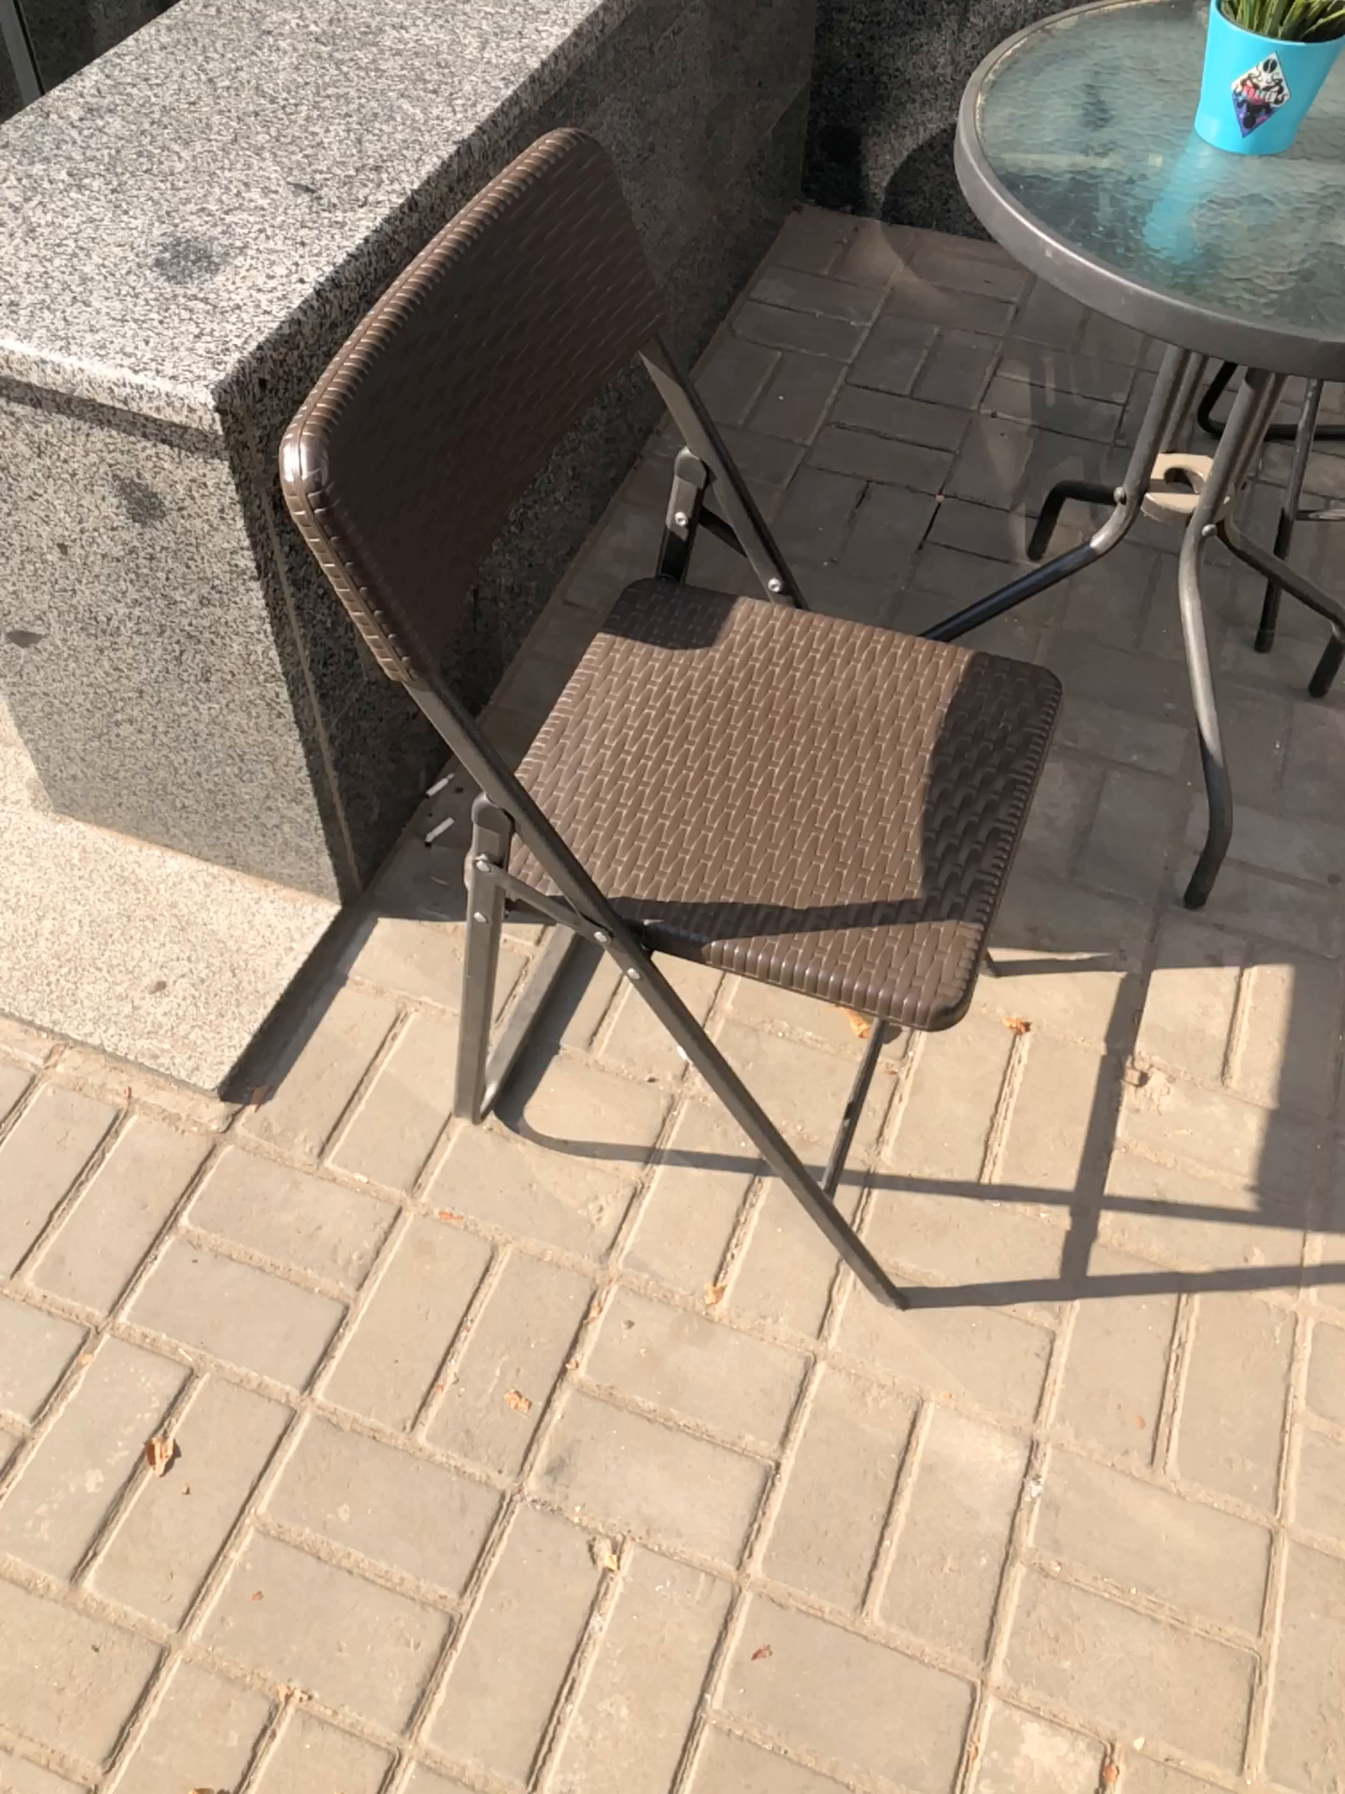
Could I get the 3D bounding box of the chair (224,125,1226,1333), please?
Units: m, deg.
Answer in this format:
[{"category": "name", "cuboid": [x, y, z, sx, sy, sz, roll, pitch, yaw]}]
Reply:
[{"category": "chair", "cuboid": [0.050, -0.081, 1.177, 0.480, 0.777, 0.431, 17, 53, 11]}]
